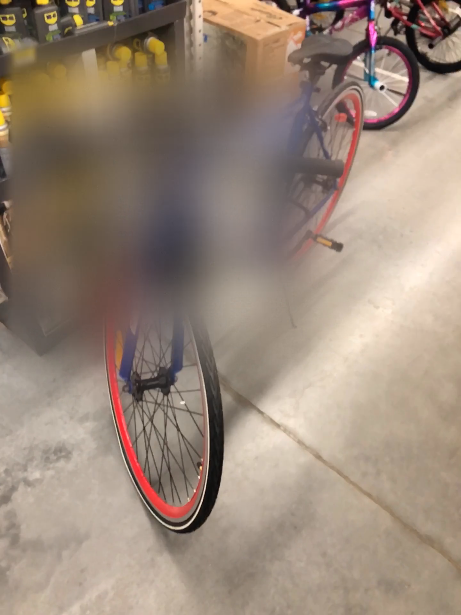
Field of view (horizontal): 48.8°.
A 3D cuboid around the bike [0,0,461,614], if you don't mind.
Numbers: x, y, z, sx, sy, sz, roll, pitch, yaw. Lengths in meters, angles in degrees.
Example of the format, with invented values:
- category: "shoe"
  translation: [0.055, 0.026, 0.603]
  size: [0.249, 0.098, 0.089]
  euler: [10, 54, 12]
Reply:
- category: "bike"
  translation: [0.247, -0.282, 1.327]
  size: [0.602, 0.938, 1.498]
  euler: [18, 45, 13]
